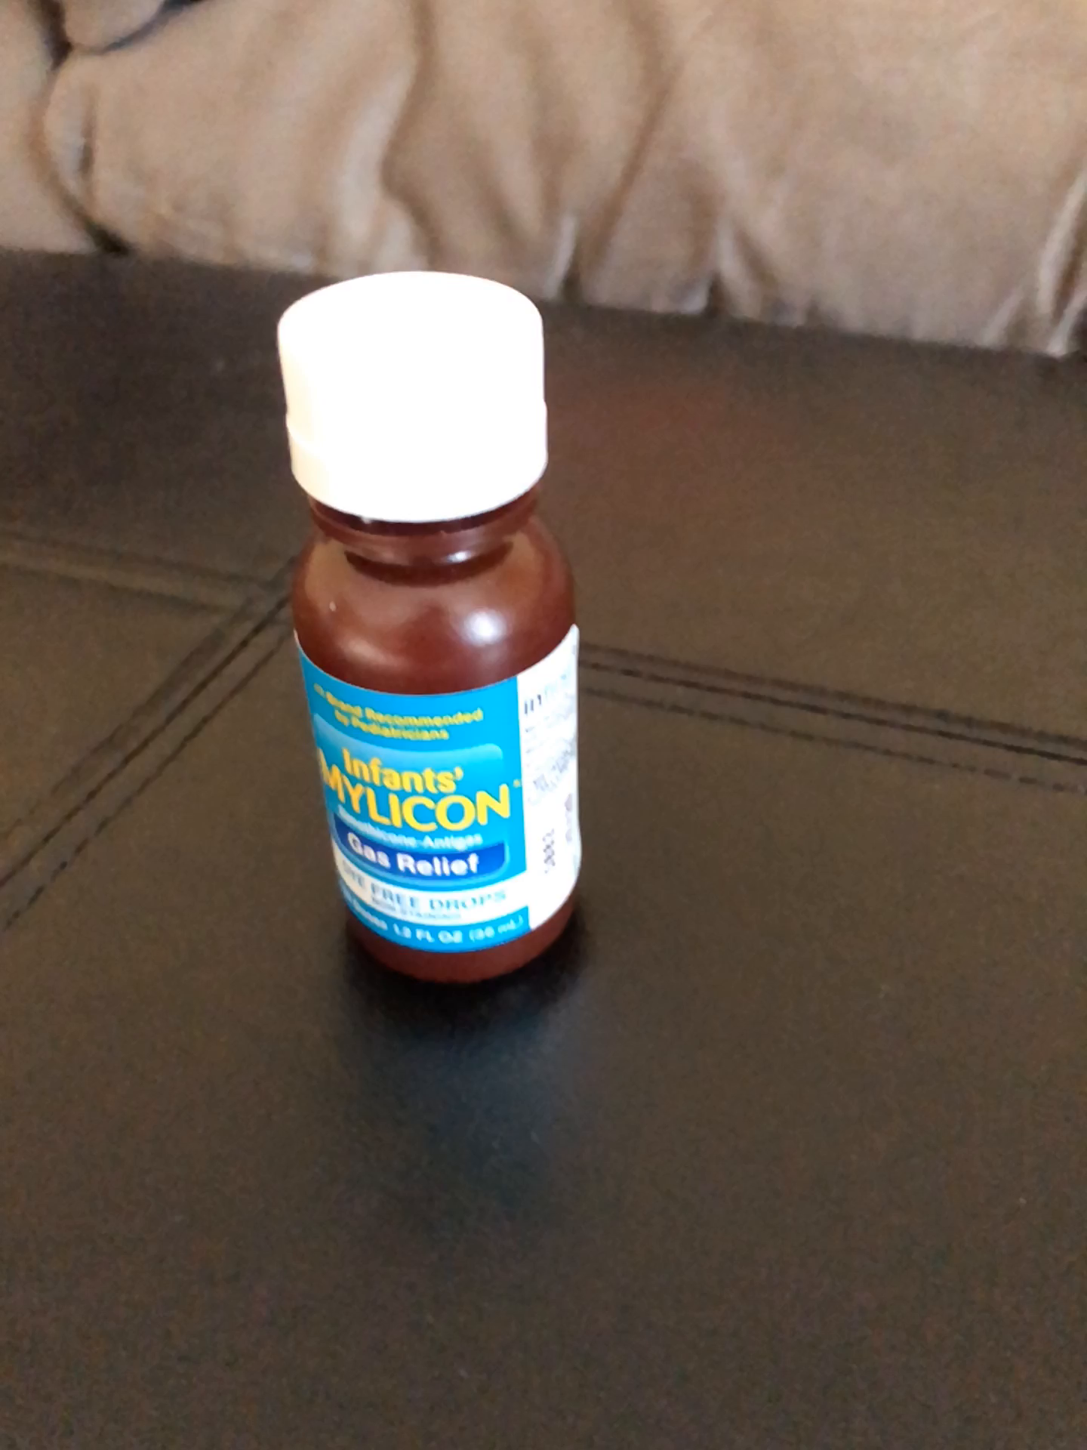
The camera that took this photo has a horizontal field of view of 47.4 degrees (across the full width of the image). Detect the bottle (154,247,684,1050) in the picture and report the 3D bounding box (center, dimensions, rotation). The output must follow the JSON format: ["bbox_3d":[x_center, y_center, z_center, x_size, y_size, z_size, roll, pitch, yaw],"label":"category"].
[{"bbox_3d":[-0.008,-0.007,0.142,0.040,0.080,0.040,-2,38,1],"label":"bottle"}]
